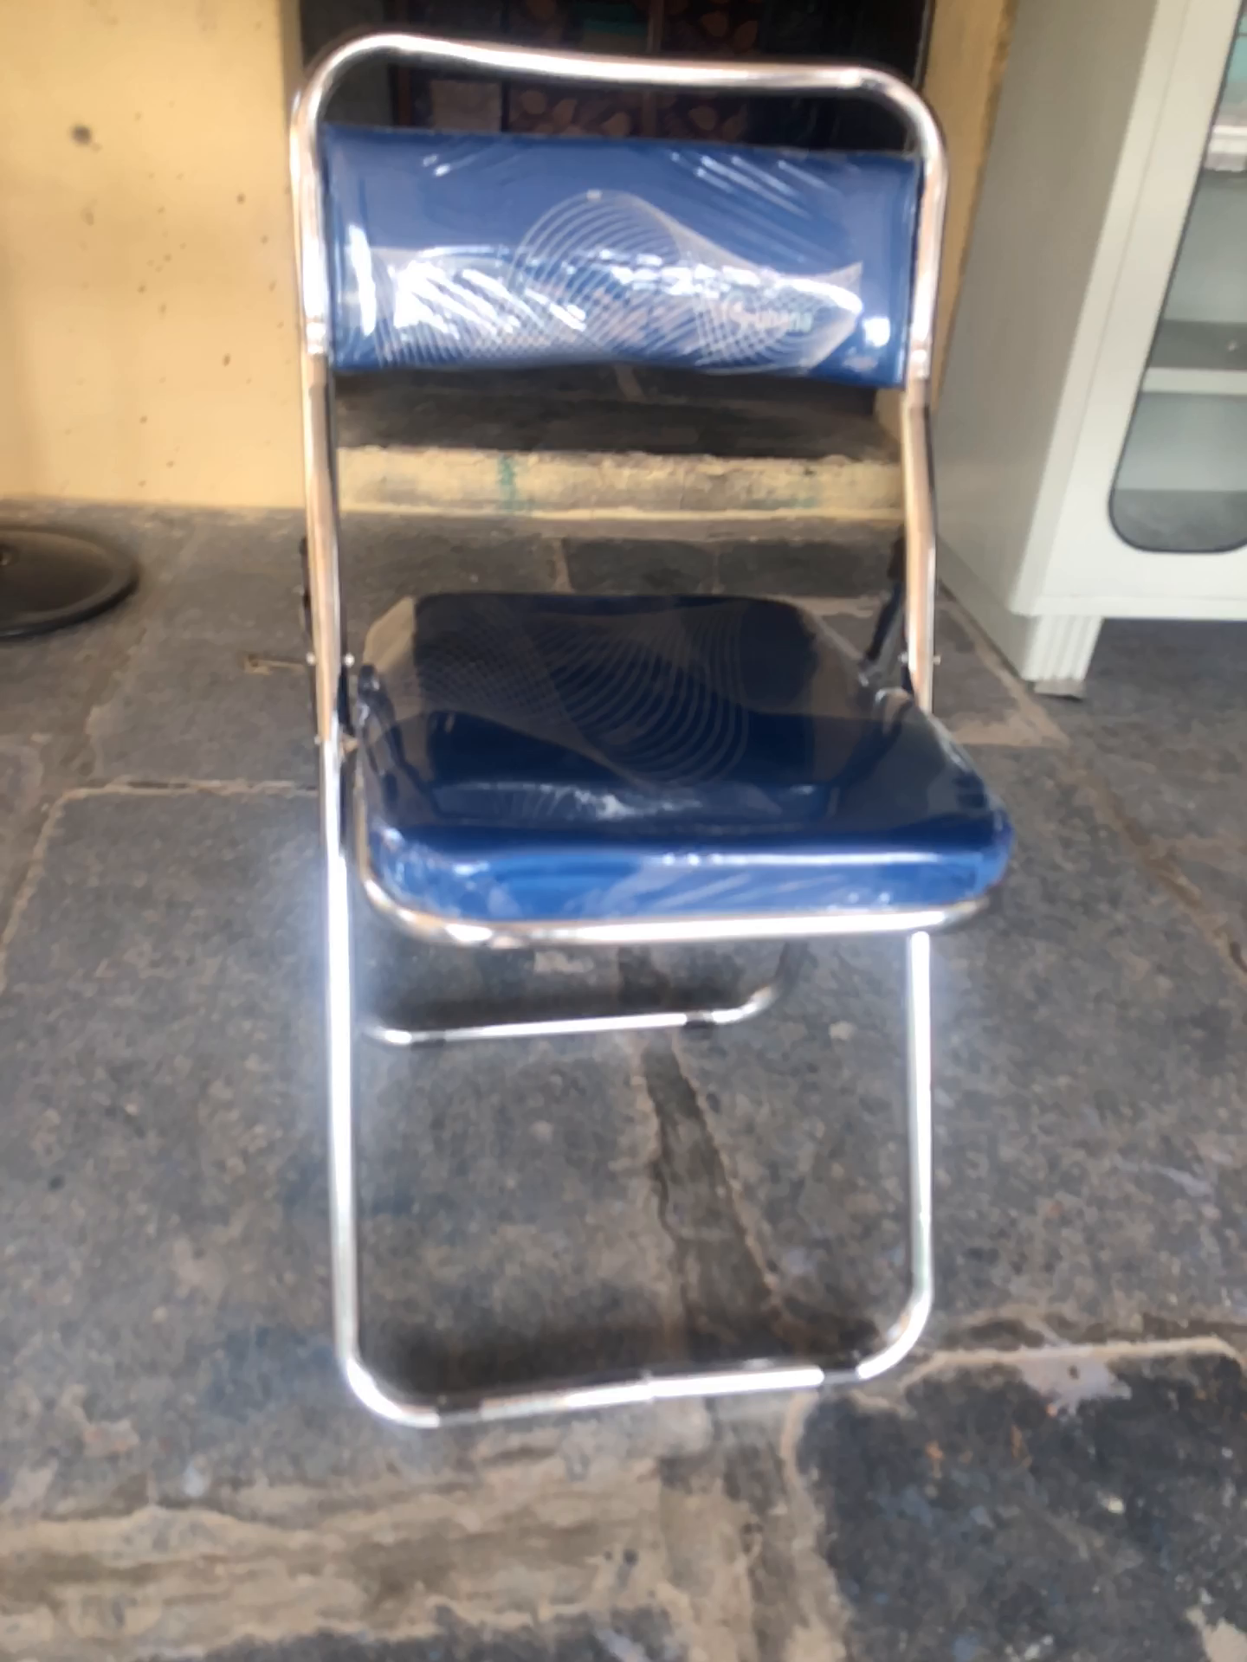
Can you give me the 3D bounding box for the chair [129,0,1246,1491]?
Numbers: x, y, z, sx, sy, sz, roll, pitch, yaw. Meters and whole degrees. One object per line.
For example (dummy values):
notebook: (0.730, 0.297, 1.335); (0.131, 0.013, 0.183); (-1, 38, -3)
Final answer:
chair: (0.016, -0.074, 0.902); (0.500, 0.805, 0.512); (-2, 31, -11)
